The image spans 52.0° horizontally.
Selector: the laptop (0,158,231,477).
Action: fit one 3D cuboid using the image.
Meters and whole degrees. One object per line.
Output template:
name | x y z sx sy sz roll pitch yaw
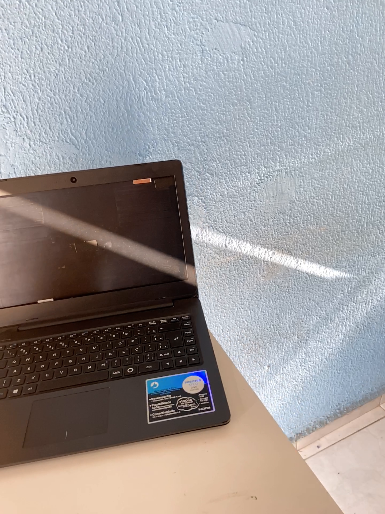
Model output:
laptop | -0.152 0.041 0.524 0.338 0.214 0.311 -8 31 -5
